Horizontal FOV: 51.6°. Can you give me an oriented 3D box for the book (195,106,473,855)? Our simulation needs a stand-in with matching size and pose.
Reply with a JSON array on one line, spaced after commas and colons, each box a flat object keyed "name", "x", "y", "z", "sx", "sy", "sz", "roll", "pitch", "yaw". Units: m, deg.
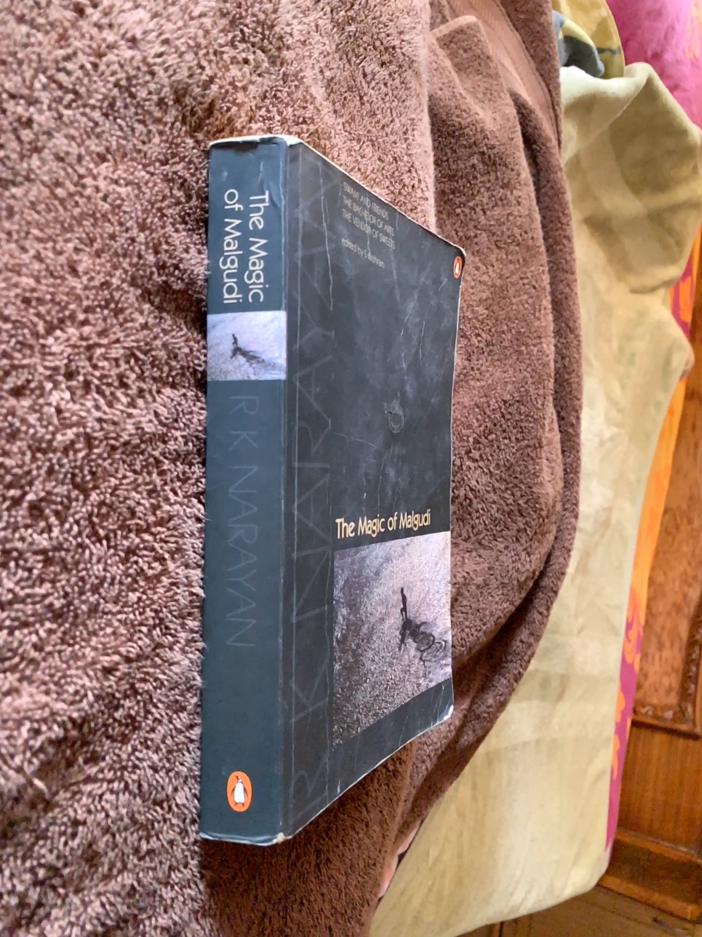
[{"name": "book", "x": 0.005, "y": 0.003, "z": 0.258, "sx": 0.142, "sy": 0.030, "sz": 0.193, "roll": 1, "pitch": 89, "yaw": -62}]
